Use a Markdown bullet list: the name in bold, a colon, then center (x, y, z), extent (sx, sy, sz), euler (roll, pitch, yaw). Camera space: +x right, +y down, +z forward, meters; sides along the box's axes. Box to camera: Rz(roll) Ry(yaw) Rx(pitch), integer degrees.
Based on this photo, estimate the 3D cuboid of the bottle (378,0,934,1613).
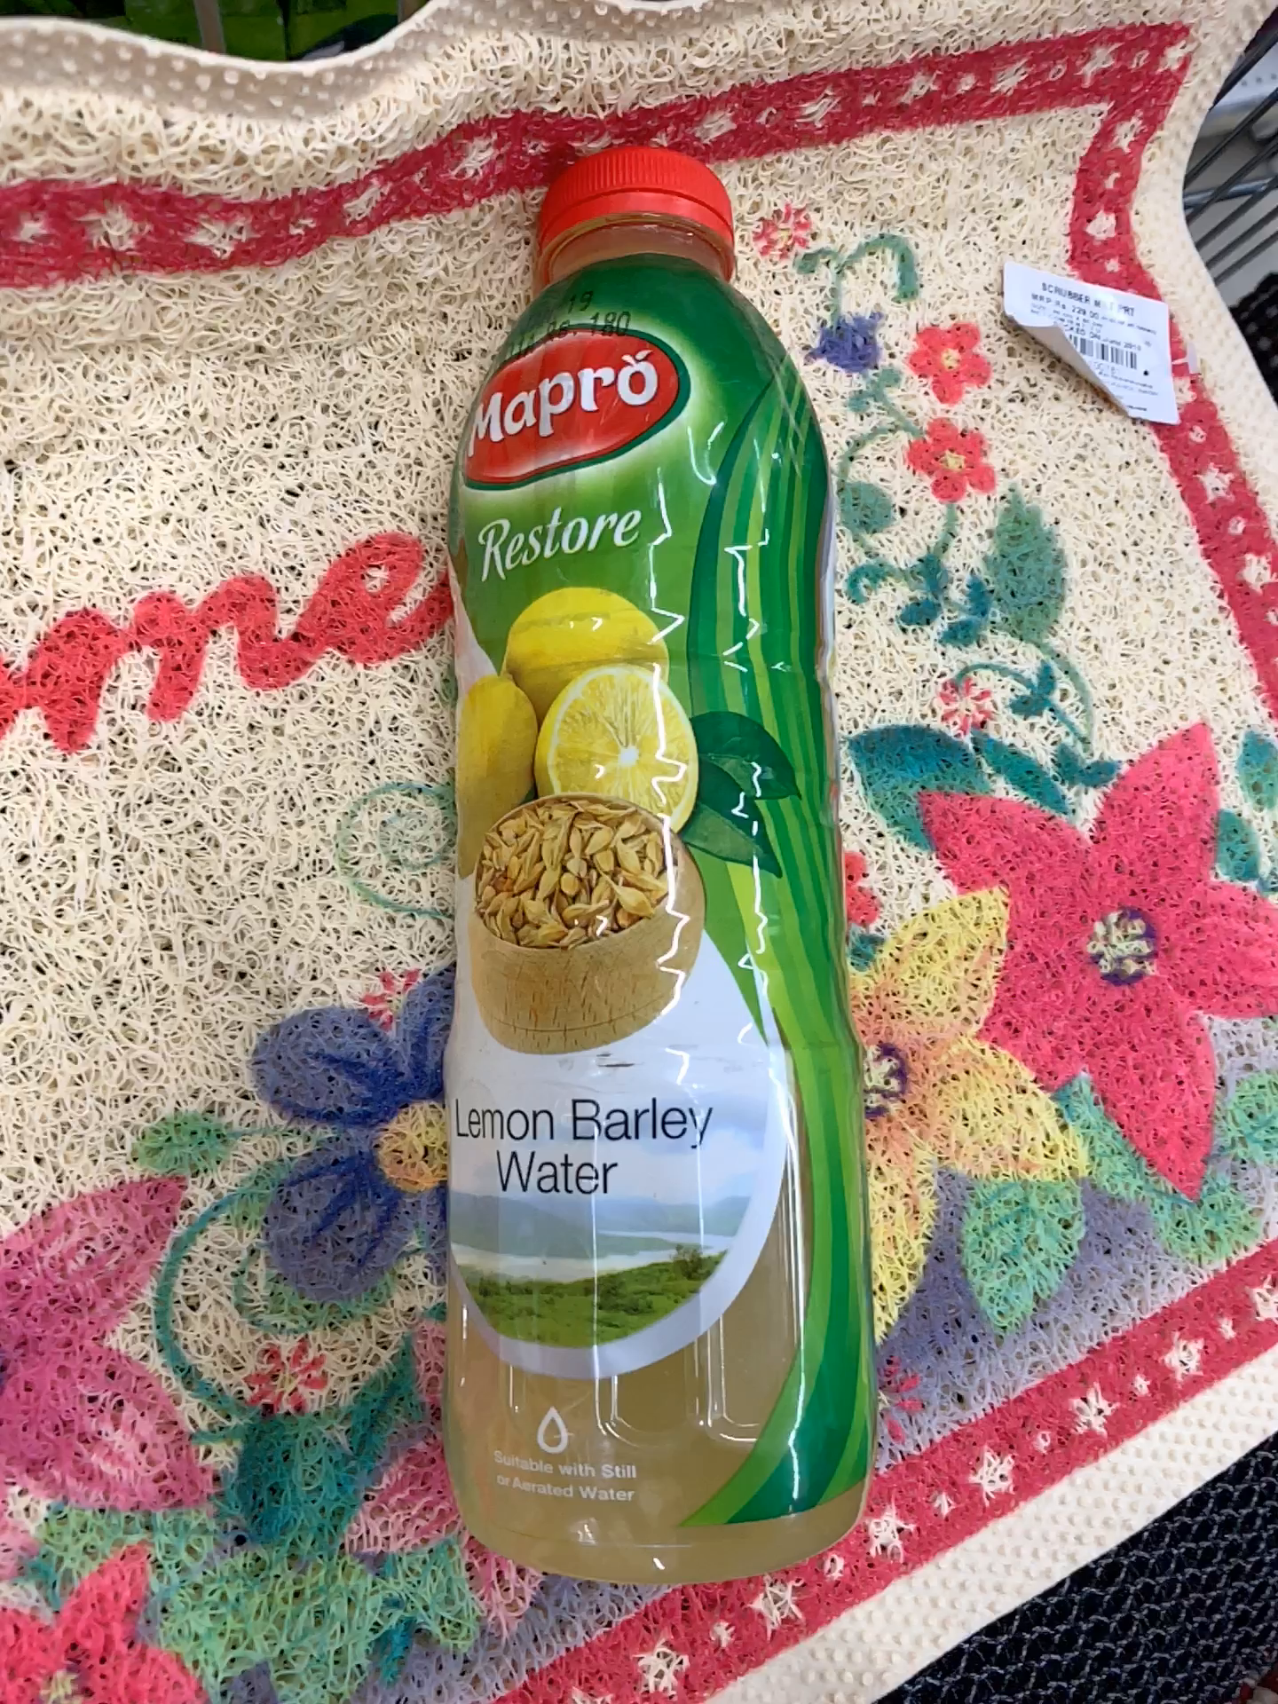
- **bottle**: center (0.006, -0.017, 0.258), extent (0.080, 0.090, 0.270), euler (-4, 80, 13)
